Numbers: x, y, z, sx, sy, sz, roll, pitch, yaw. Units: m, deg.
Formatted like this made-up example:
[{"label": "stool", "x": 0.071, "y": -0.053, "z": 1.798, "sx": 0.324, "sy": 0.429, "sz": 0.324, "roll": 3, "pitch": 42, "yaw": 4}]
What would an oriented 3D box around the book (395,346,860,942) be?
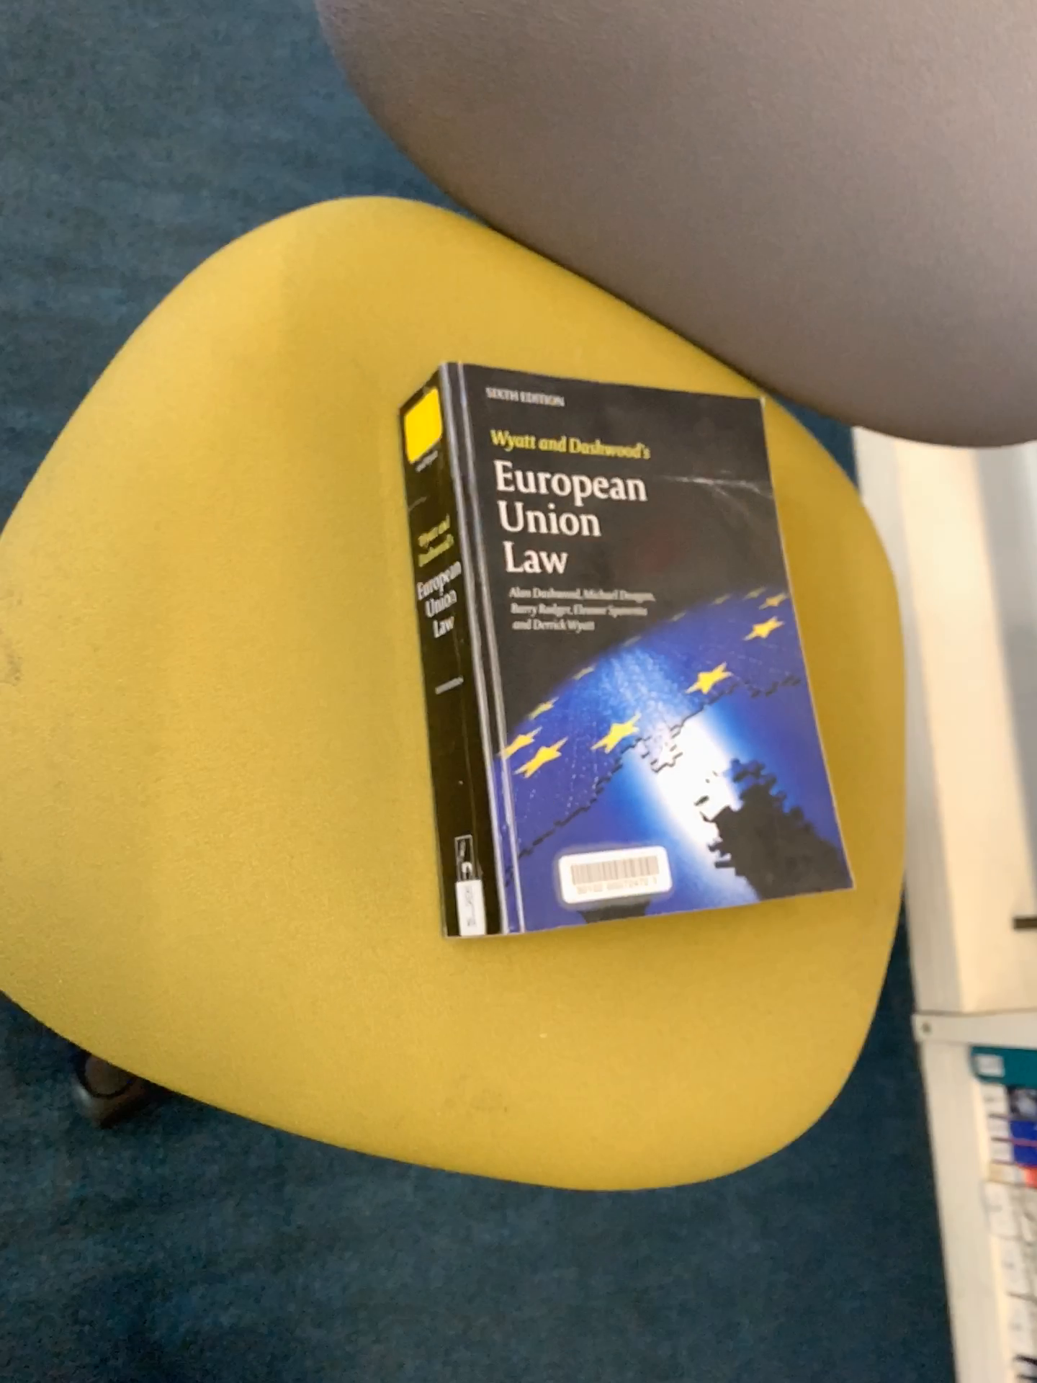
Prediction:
[{"label": "book", "x": 0.049, "y": -0.022, "z": 0.505, "sx": 0.181, "sy": 0.060, "sz": 0.250, "roll": -1, "pitch": 78, "yaw": -27}]
